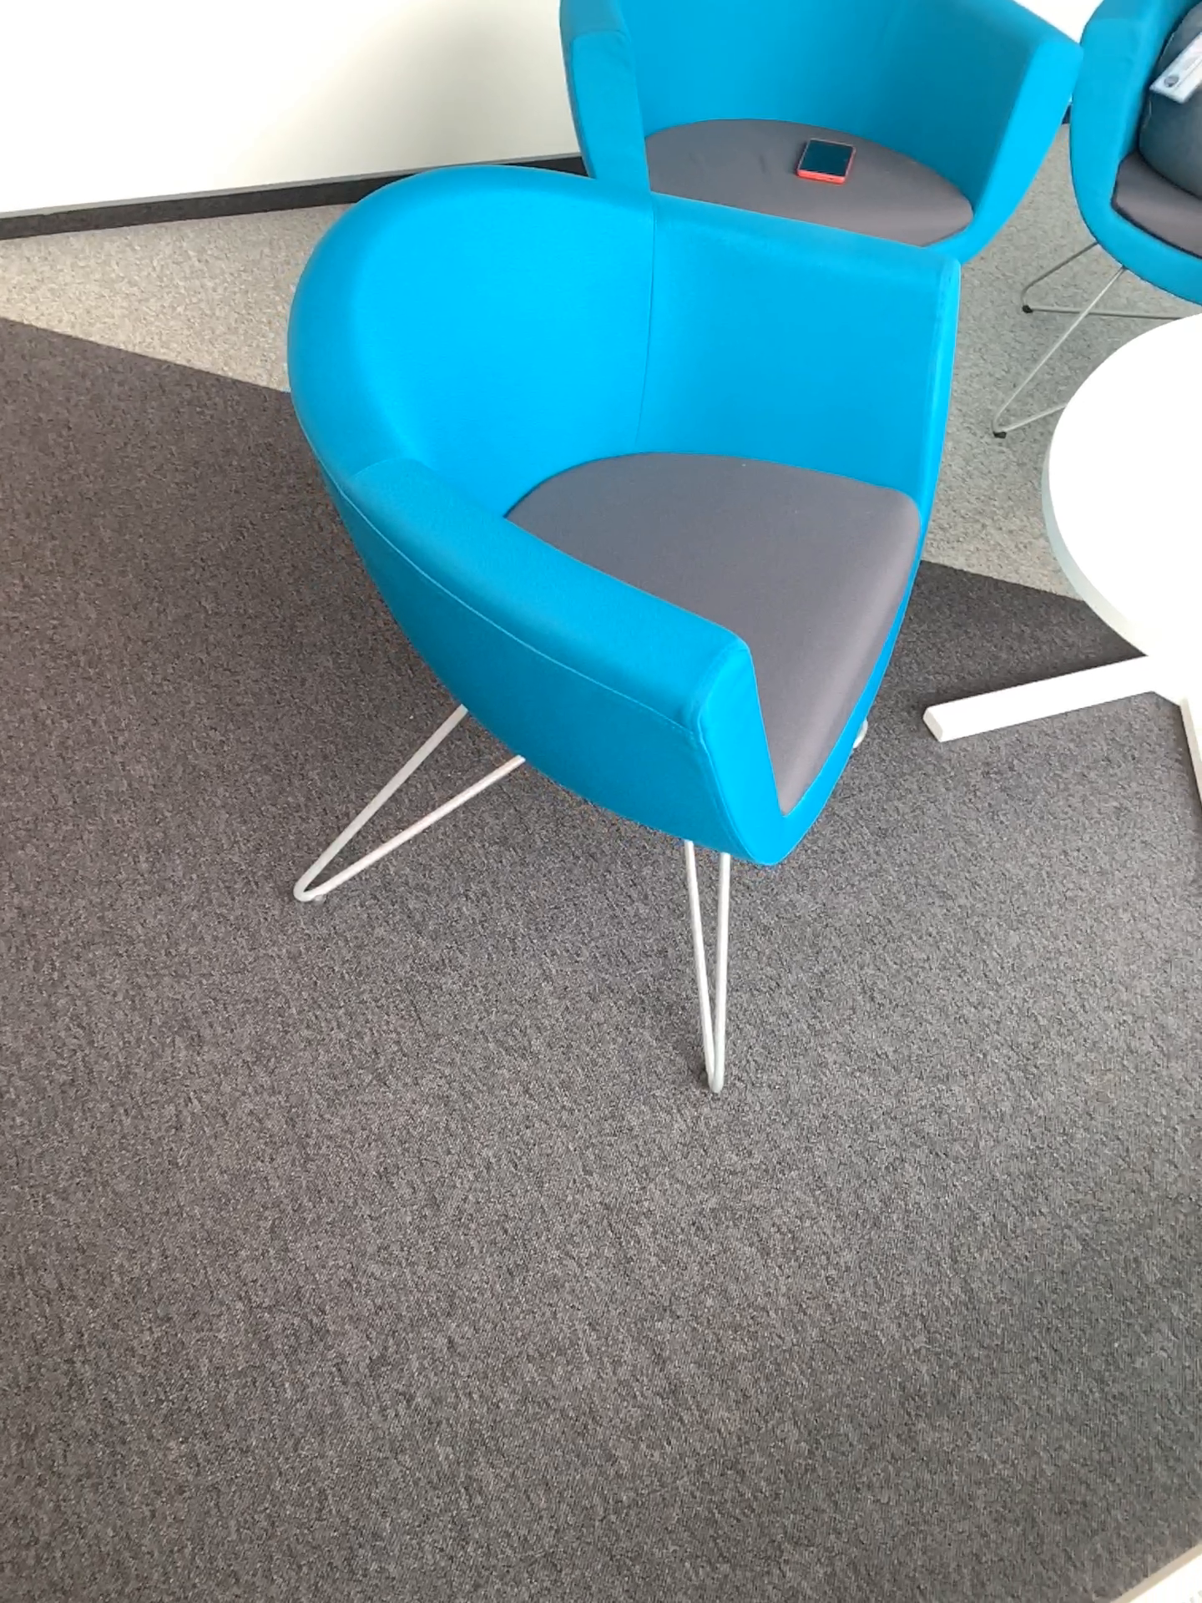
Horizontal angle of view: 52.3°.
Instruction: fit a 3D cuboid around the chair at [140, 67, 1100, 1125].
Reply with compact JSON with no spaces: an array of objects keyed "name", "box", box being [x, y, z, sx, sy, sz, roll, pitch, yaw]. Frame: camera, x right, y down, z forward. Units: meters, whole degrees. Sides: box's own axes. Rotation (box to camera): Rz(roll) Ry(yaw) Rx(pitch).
[{"name":"chair","box":[0.042,-0.232,1.393,0.640,0.756,0.713,22,51,11]}]
